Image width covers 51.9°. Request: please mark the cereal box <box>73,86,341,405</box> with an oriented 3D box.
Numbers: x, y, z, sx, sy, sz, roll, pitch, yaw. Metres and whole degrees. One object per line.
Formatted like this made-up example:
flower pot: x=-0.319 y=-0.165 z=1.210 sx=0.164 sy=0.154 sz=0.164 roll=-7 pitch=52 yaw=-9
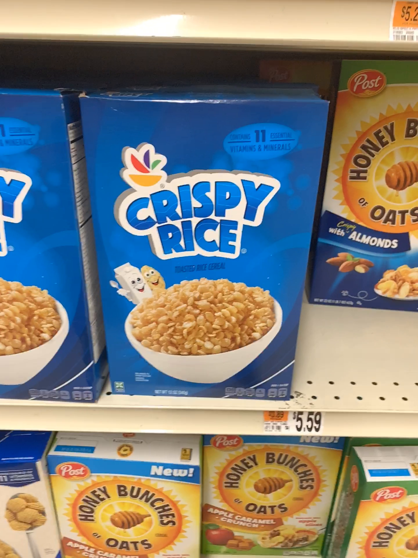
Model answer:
cereal box: x=-0.005 y=-0.019 z=0.442 sx=0.210 sy=0.318 sz=0.070 roll=2 pitch=28 yaw=0
